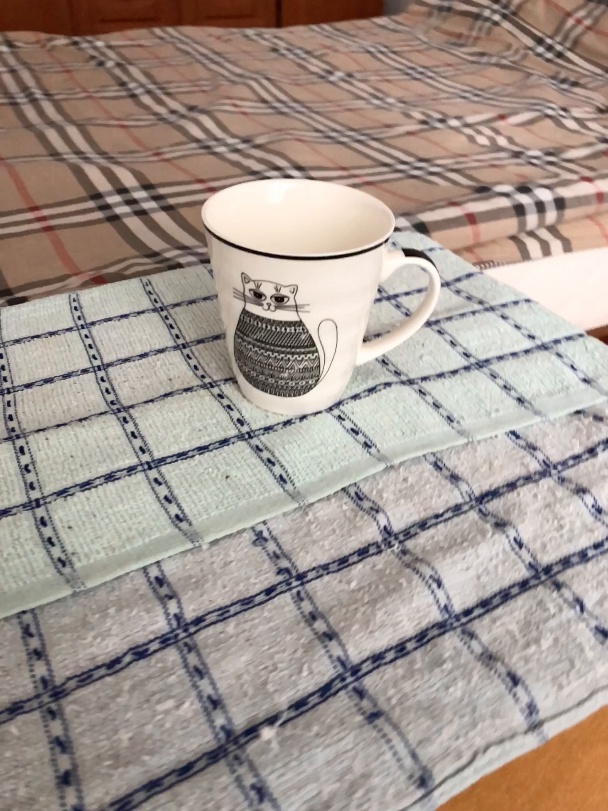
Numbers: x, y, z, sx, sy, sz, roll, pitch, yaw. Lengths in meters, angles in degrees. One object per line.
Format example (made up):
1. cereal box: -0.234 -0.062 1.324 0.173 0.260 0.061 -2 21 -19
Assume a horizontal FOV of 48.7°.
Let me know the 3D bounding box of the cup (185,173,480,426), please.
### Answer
1. cup: 0.011 -0.056 0.342 0.123 0.090 0.091 2 38 -1
